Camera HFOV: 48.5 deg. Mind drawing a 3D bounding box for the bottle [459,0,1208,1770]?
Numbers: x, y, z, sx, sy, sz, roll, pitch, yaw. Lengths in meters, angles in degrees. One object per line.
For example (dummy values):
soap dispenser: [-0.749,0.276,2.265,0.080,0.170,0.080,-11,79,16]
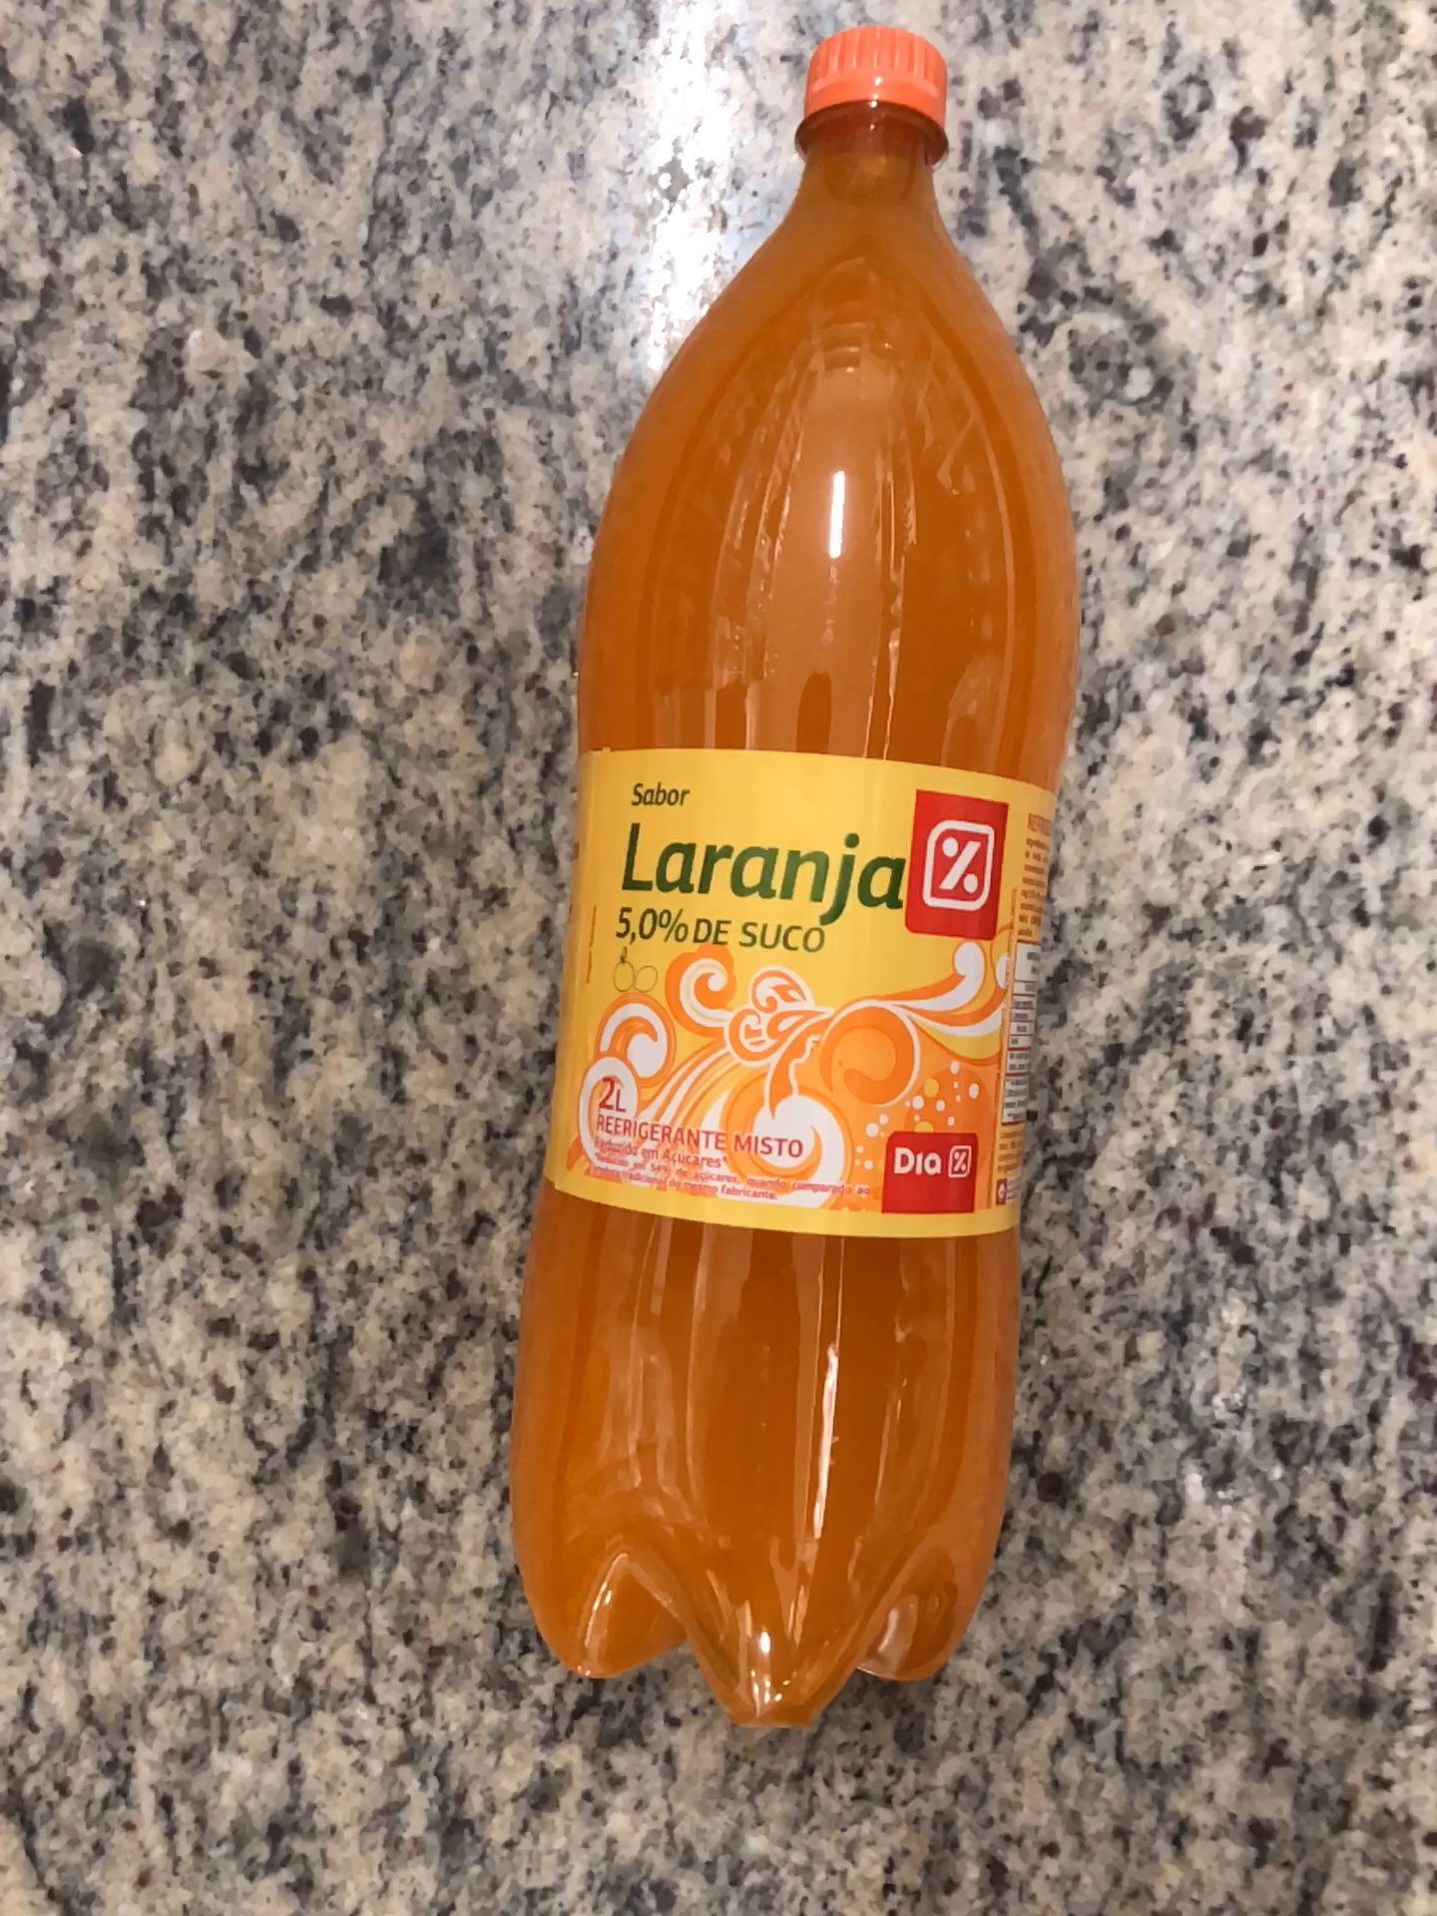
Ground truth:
bottle: [0.023,-0.027,0.334,0.120,0.070,0.350,4,88,0]
